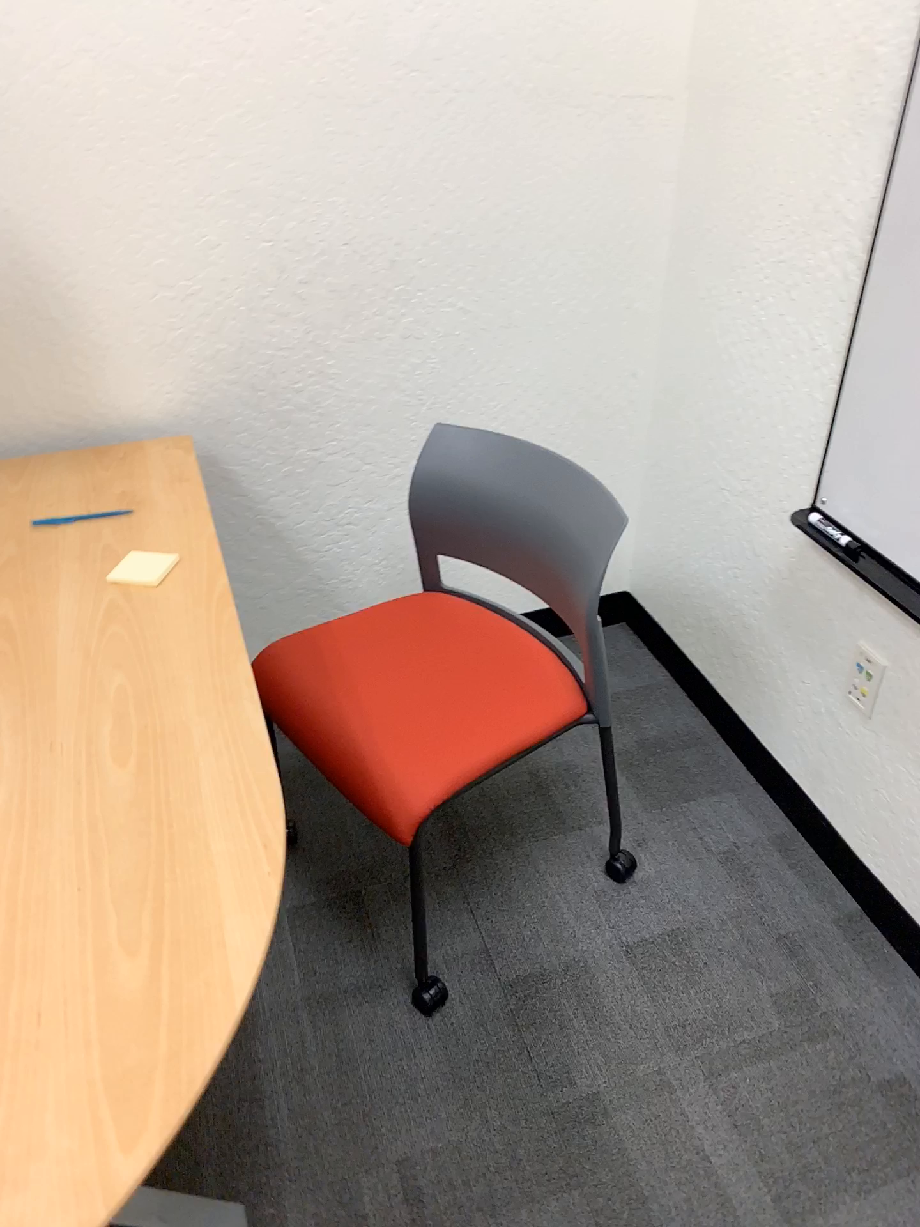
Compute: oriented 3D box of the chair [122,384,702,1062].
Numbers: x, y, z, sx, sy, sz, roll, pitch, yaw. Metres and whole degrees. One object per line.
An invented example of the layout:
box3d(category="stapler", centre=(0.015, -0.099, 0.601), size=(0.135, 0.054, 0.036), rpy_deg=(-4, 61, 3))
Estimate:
box3d(category="chair", centre=(-0.097, 0.167, 1.913), size=(0.721, 0.914, 0.743), rpy_deg=(-26, 42, -31))
